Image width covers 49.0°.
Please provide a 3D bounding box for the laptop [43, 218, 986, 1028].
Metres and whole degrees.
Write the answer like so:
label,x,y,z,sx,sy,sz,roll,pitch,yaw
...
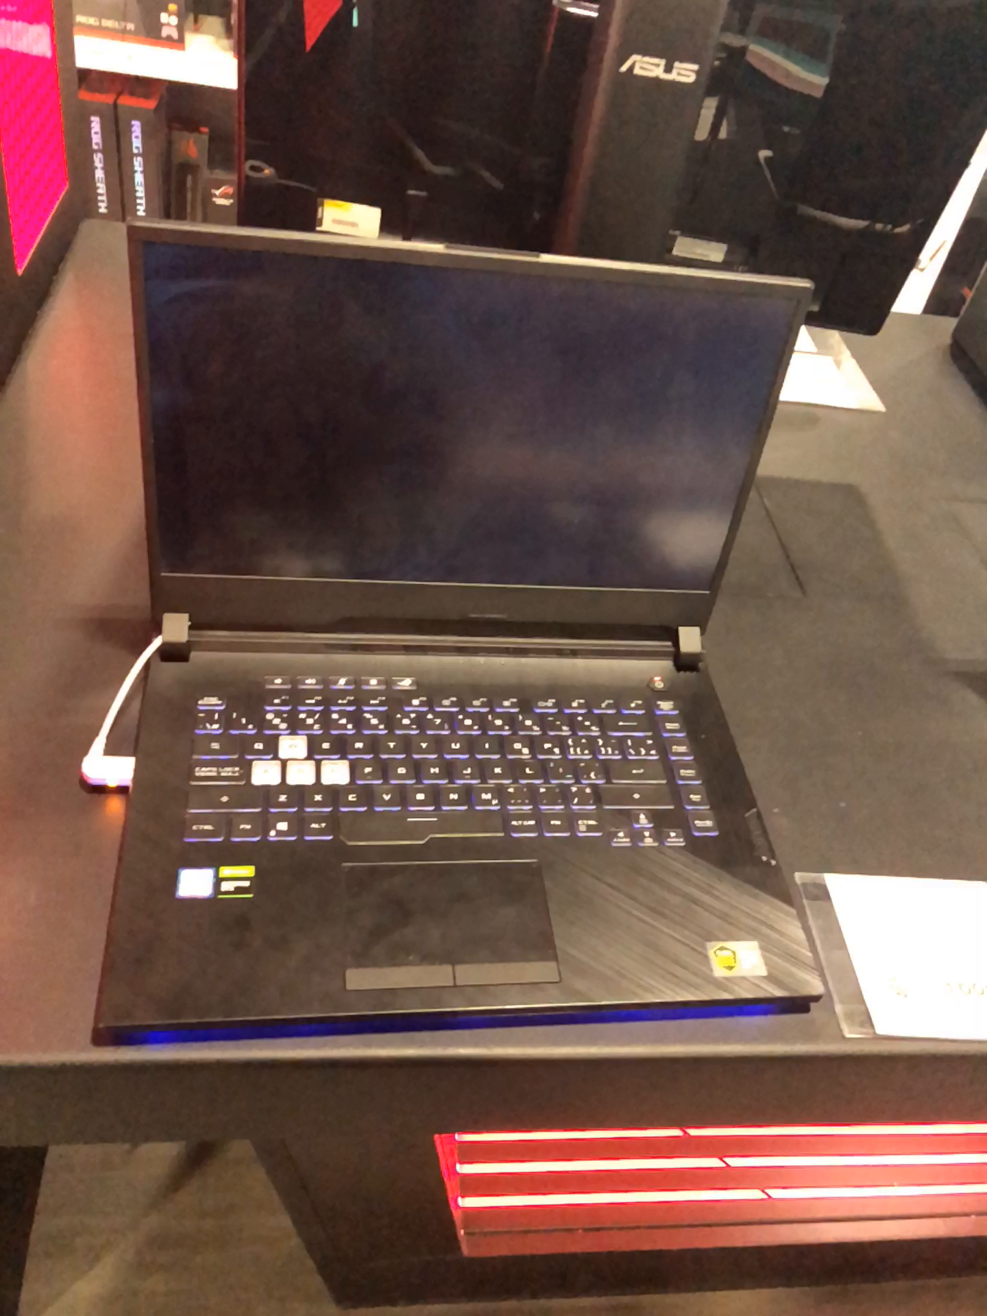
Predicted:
label,x,y,z,sx,sy,sz,roll,pitch,yaw
laptop,0.000,-0.014,0.551,0.360,0.268,0.276,1,44,-12
